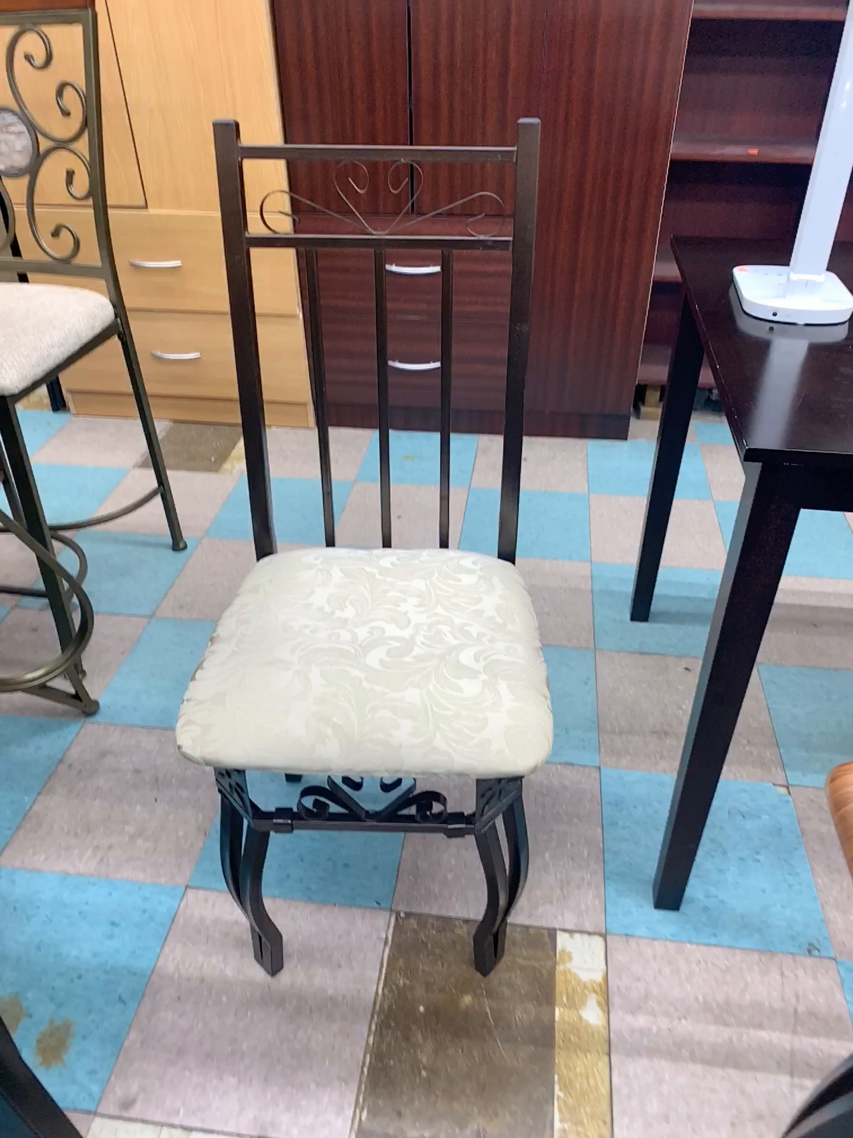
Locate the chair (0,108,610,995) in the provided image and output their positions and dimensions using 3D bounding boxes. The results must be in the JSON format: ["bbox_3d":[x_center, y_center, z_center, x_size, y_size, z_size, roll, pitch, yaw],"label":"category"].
[{"bbox_3d":[-0.076,0.020,1.037,0.415,0.950,0.478,1,36,2],"label":"chair"}]
